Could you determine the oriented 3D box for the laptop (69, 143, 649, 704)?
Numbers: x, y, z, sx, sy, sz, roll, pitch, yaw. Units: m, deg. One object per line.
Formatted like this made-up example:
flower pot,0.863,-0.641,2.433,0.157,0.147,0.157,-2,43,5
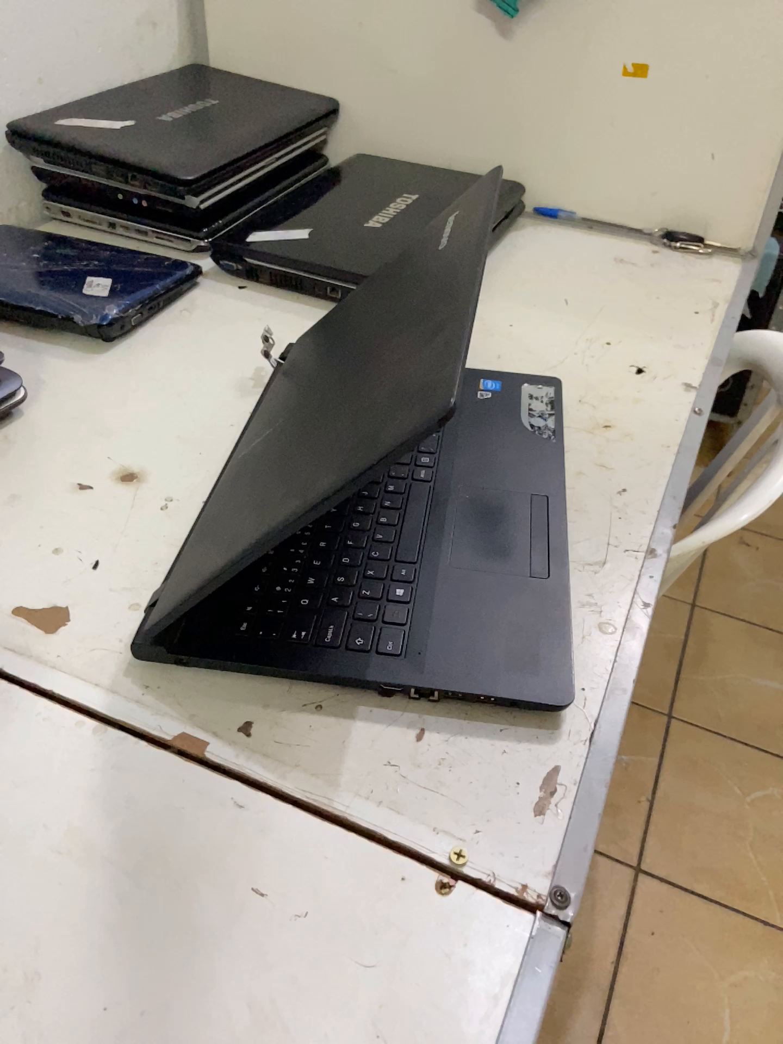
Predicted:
laptop,0.003,-0.102,0.555,0.257,0.189,0.378,6,40,5
